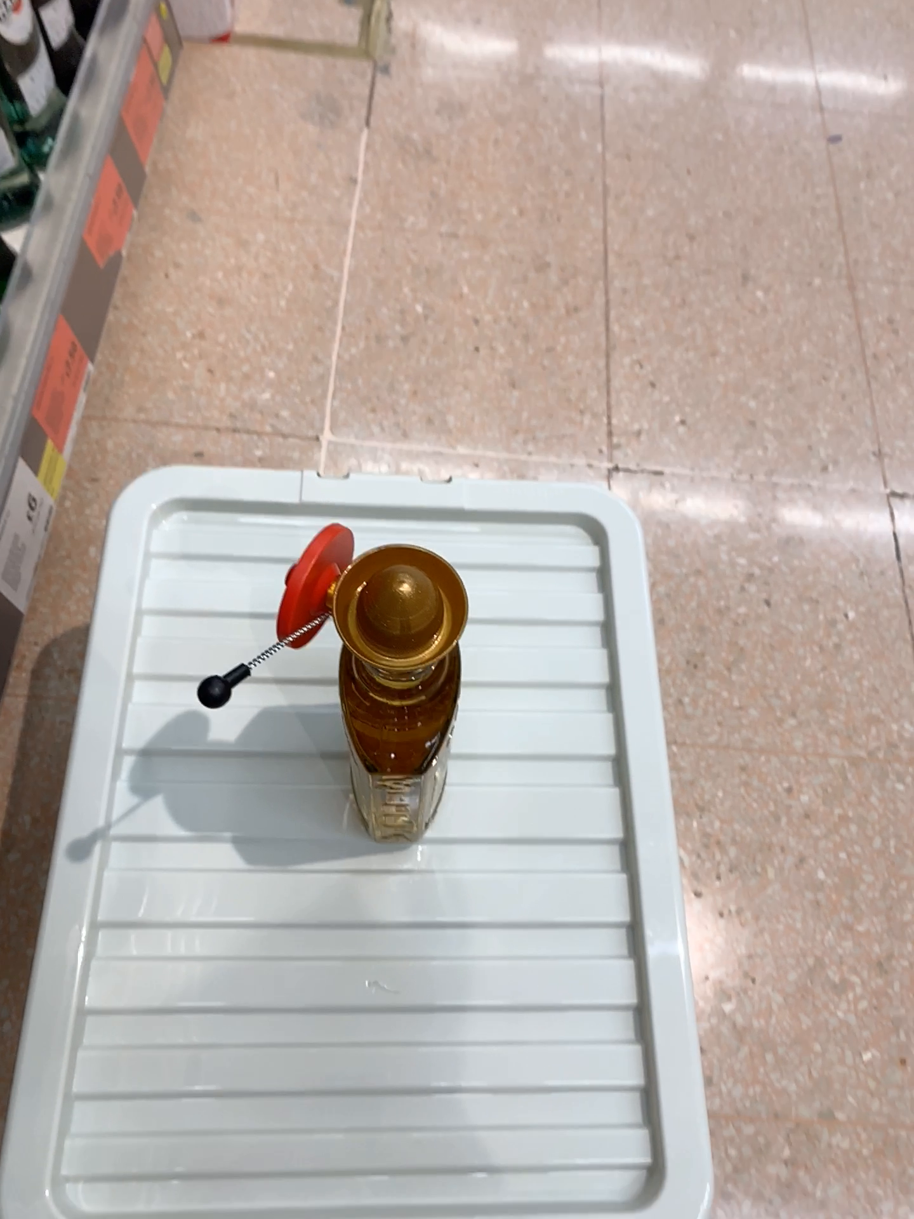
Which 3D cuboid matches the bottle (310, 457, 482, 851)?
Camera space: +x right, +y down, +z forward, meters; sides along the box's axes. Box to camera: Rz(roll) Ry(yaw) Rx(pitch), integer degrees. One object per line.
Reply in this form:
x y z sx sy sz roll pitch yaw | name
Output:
-0.031 0.042 0.455 0.058 0.259 0.101 2 65 -4 | bottle
